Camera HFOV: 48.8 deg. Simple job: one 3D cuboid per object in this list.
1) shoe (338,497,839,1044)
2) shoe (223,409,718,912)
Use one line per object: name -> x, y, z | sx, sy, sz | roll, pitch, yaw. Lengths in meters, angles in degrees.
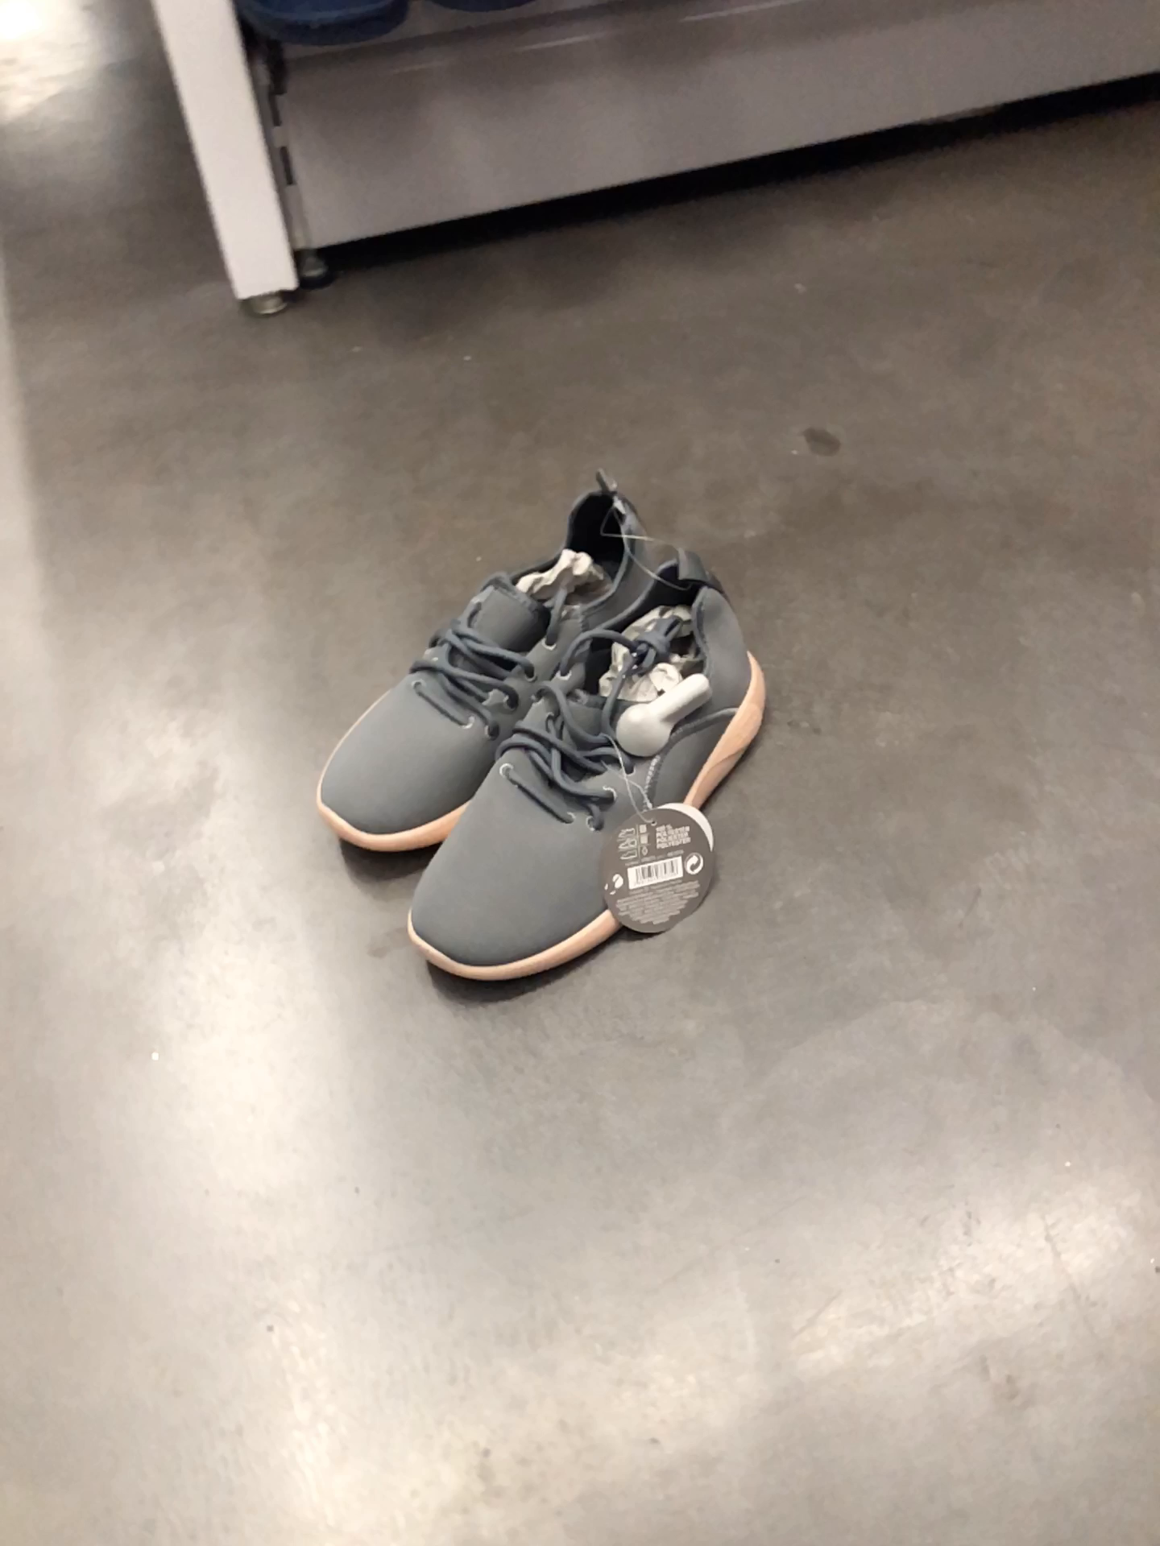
shoe -> 0.012, -0.008, 0.600 | 0.090, 0.100, 0.241 | 32, 60, 22
shoe -> -0.043, -0.062, 0.633 | 0.090, 0.100, 0.241 | 34, 61, 23
